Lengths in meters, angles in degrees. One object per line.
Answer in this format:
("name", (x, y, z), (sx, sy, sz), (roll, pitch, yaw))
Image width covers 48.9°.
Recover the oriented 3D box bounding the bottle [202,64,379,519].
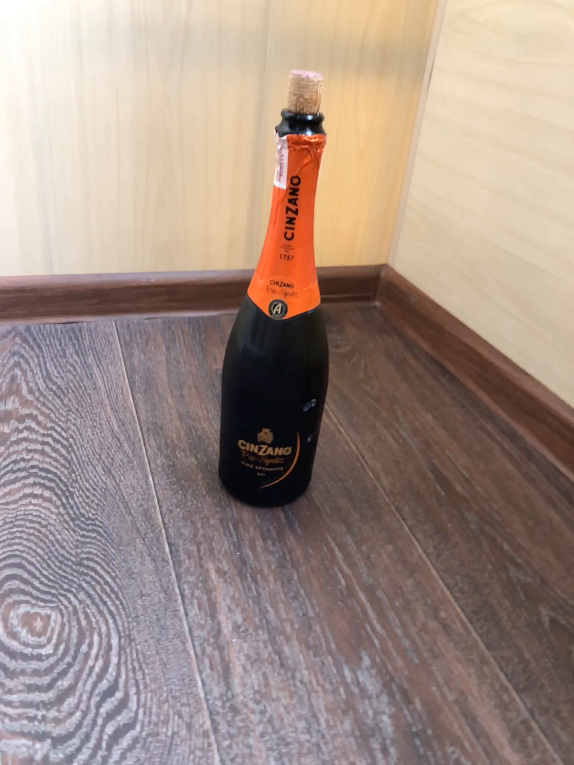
("bottle", (-0.006, -0.056, 0.491), (0.092, 0.328, 0.101), (5, 31, -3))
